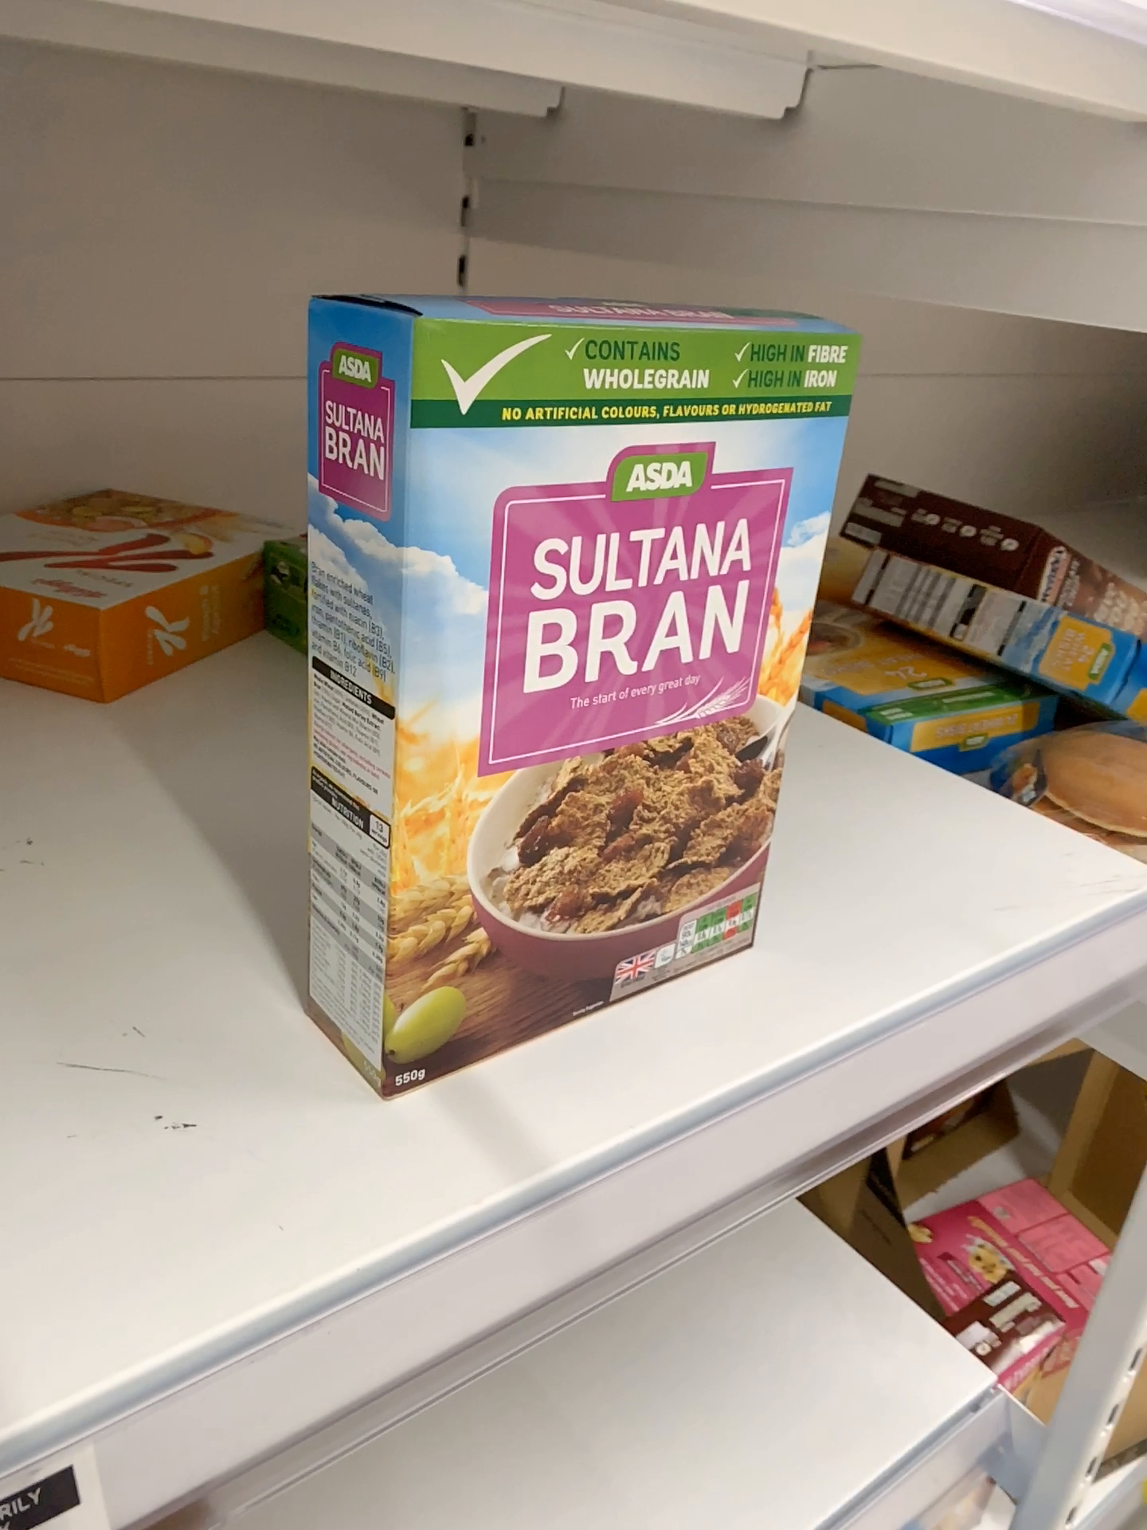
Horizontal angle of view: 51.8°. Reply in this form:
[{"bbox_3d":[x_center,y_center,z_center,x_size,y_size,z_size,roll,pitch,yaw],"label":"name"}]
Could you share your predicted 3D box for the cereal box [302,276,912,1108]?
[{"bbox_3d":[0.009,-0.034,0.452,0.211,0.268,0.070,-14,31,-37],"label":"cereal box"}]
